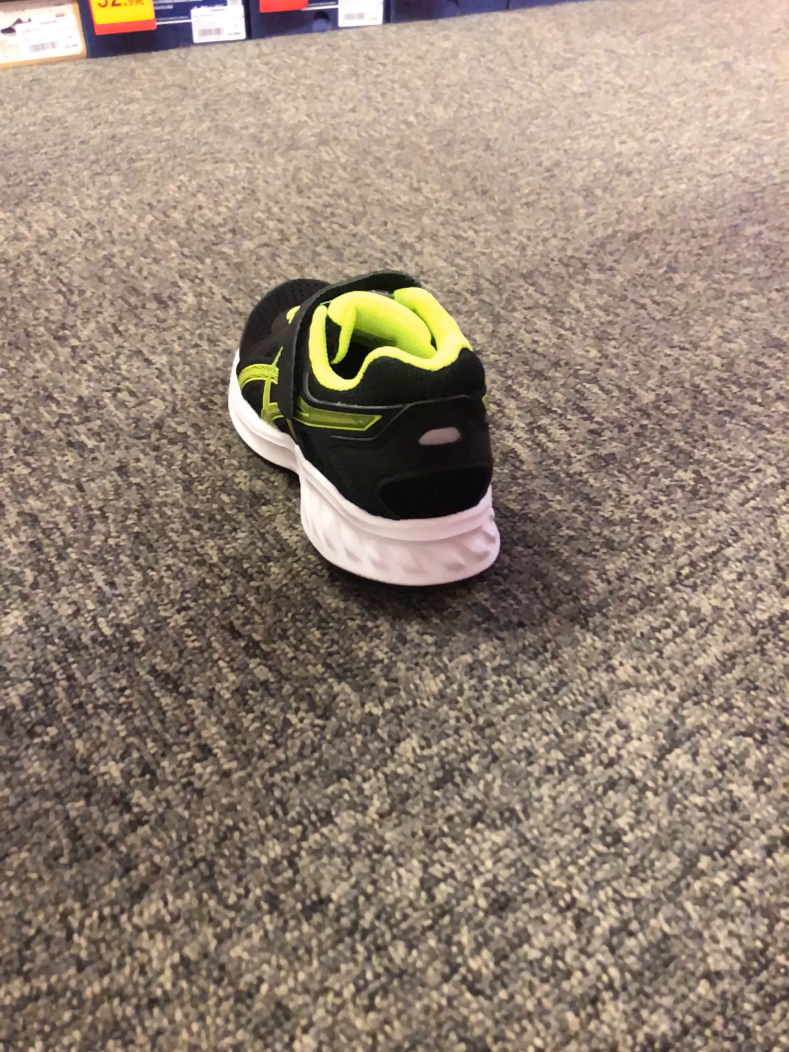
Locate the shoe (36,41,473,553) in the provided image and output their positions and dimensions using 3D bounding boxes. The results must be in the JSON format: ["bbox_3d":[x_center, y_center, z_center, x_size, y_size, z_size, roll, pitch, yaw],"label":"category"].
[{"bbox_3d":[-0.062,-0.097,0.312,0.090,0.079,0.201,-12,47,-20],"label":"shoe"}]
